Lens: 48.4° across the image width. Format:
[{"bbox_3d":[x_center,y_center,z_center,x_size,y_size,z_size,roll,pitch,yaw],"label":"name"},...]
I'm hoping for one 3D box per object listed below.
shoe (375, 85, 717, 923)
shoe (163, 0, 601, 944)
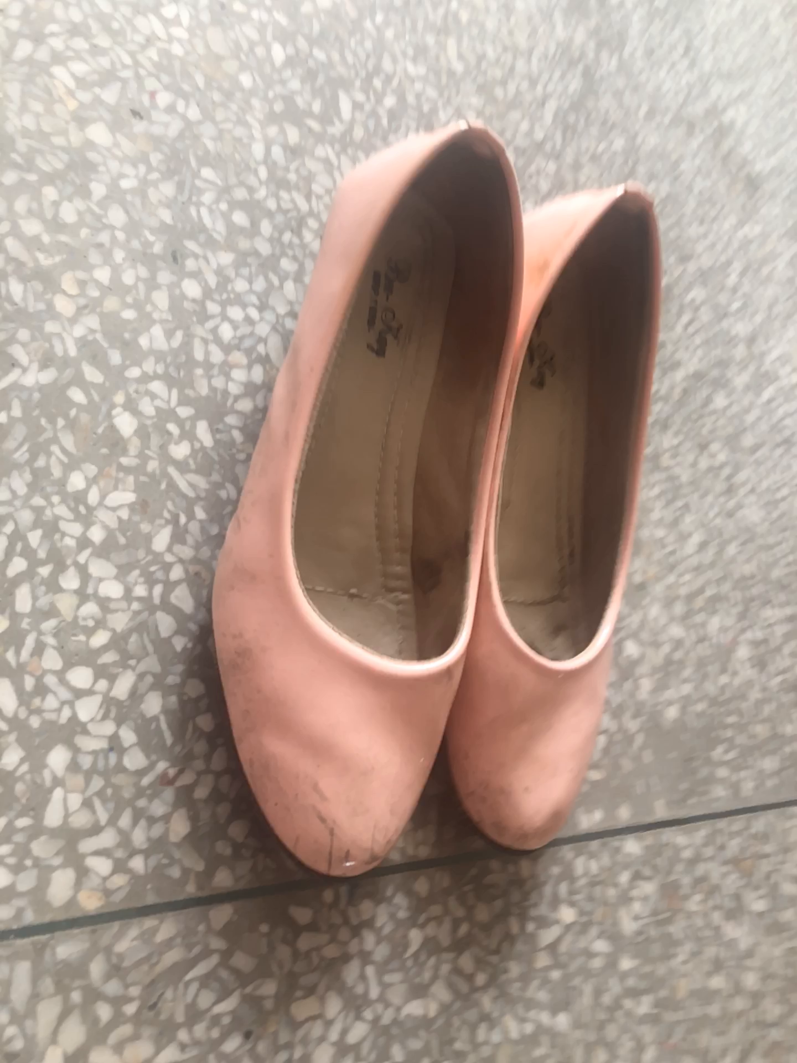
[{"bbox_3d":[0.056,-0.008,0.324,0.090,0.070,0.260,8,82,-32],"label":"shoe"},{"bbox_3d":[-0.006,-0.014,0.295,0.090,0.070,0.260,8,89,-32],"label":"shoe"}]
